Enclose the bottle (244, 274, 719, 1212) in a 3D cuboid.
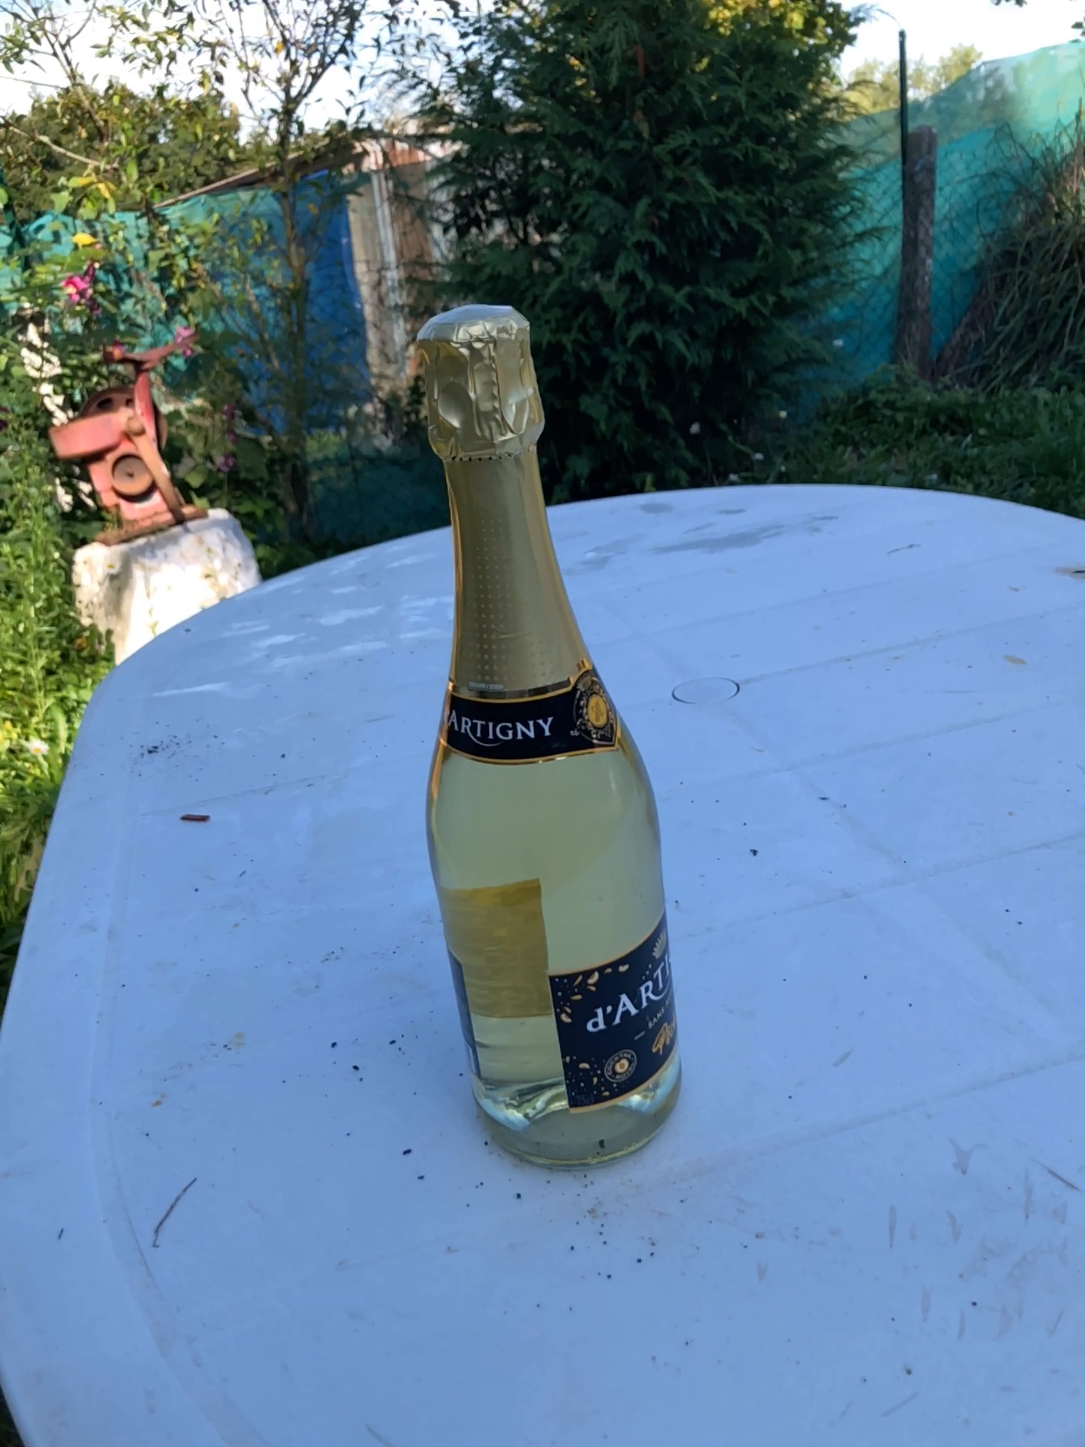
[{"bbox_3d":[-0.006,0.011,0.411,0.090,0.298,0.091,-6,25,3],"label":"bottle"}]
